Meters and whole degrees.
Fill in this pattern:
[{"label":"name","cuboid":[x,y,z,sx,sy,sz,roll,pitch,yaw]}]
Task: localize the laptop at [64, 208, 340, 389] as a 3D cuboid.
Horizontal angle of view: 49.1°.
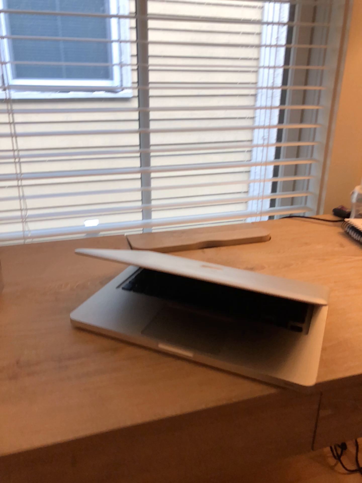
[{"label":"laptop","cuboid":[0.042,0.048,0.557,0.318,0.089,0.230,10,24,22]}]
